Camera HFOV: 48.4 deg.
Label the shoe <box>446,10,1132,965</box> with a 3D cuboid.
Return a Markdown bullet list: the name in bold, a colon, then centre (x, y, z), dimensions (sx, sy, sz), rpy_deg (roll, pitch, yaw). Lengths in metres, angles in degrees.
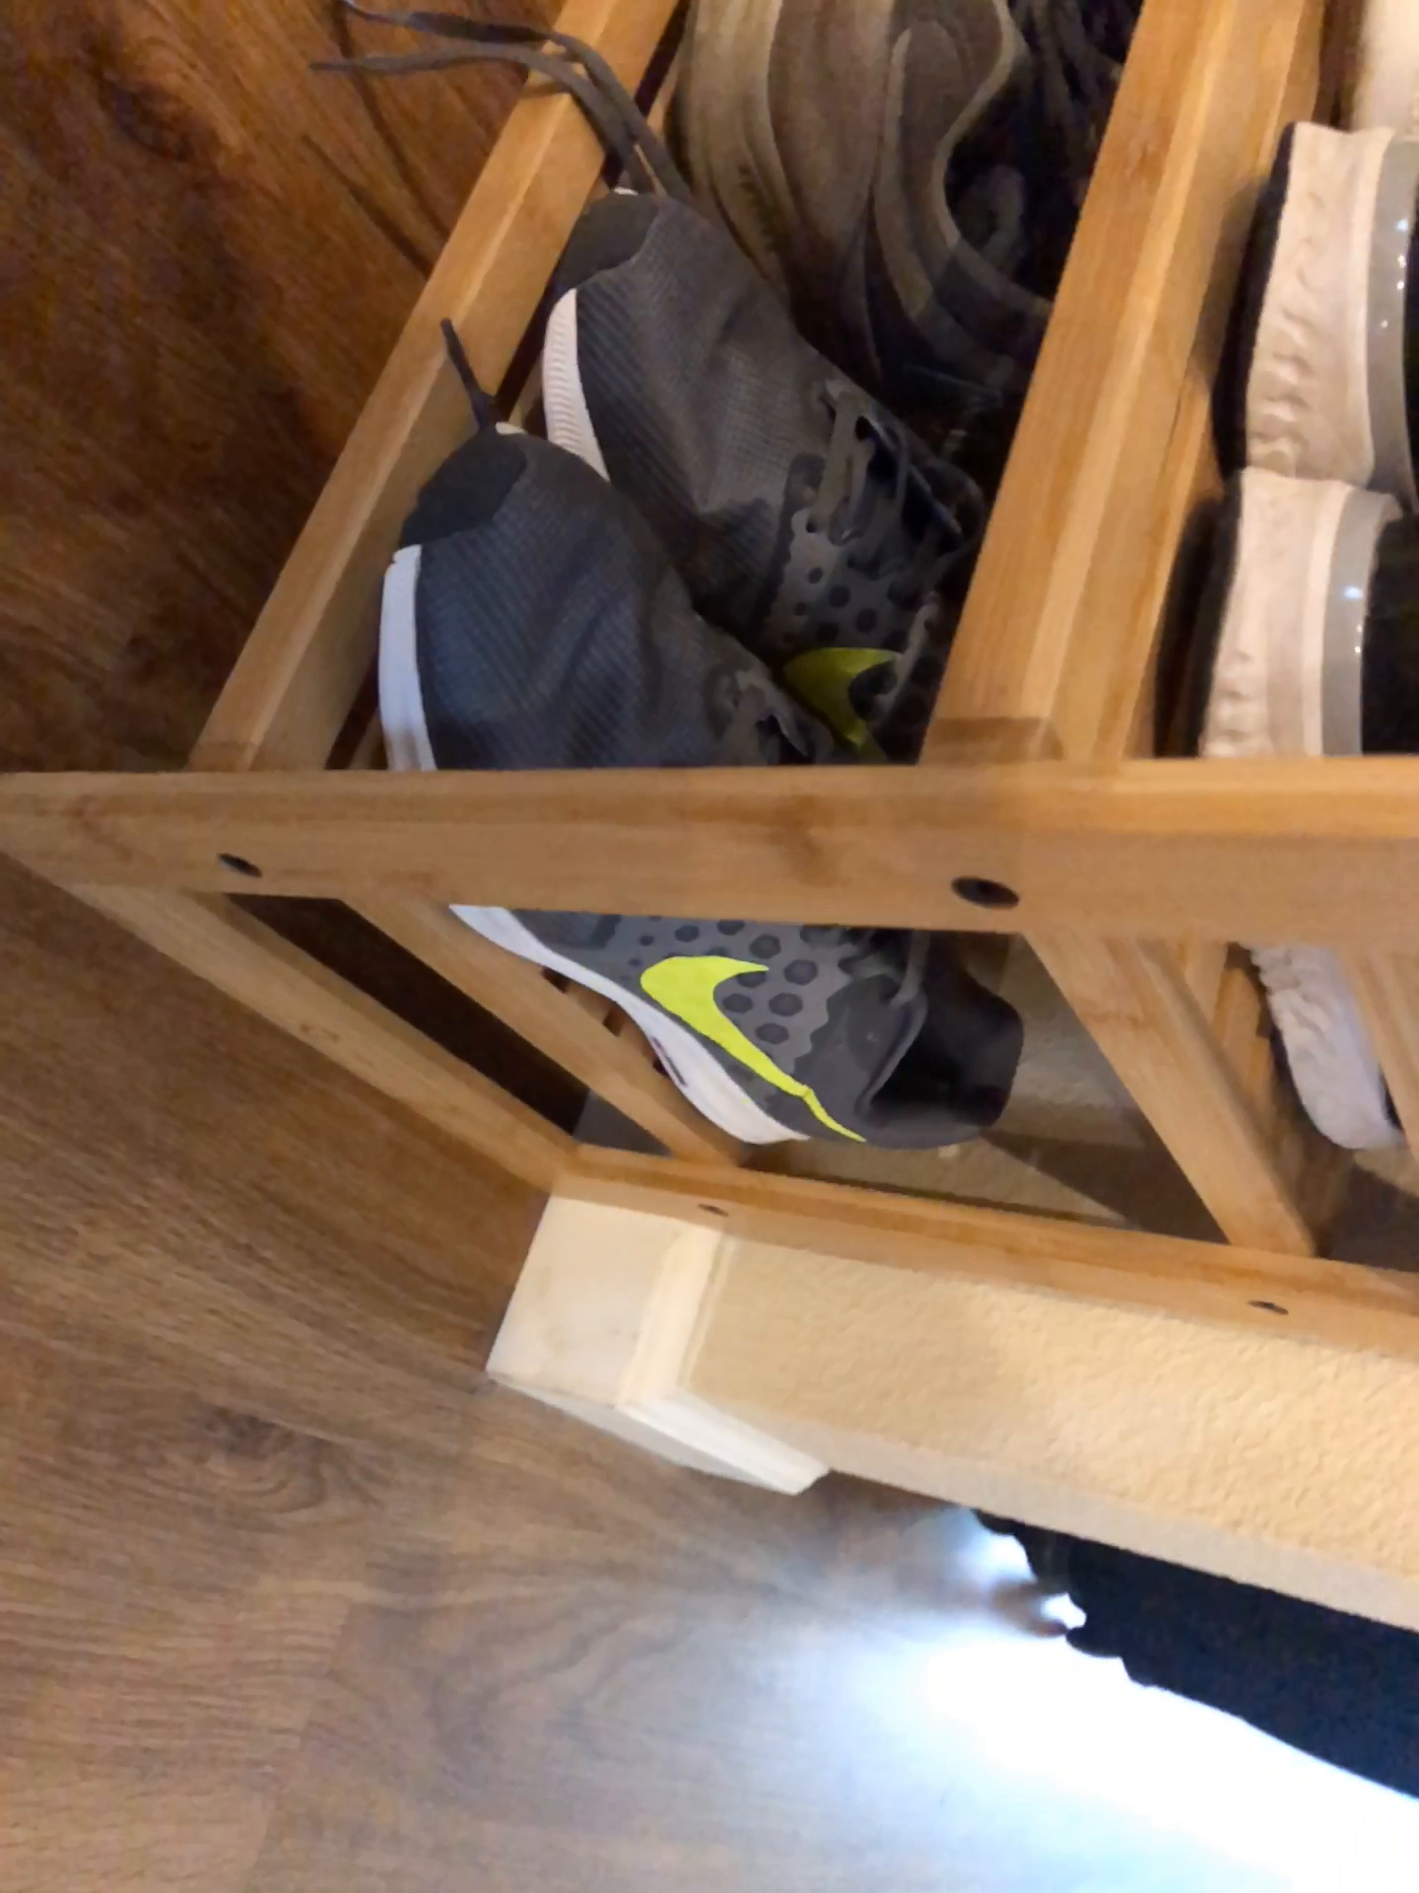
- **shoe**: centre (0.052, -0.118, 0.519), dimensions (0.312, 0.070, 0.110), rpy_deg (46, 55, -48)

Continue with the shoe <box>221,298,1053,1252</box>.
- **shoe**: centre (0.010, -0.023, 0.476), dimensions (0.312, 0.070, 0.120), rpy_deg (46, 56, -48)
